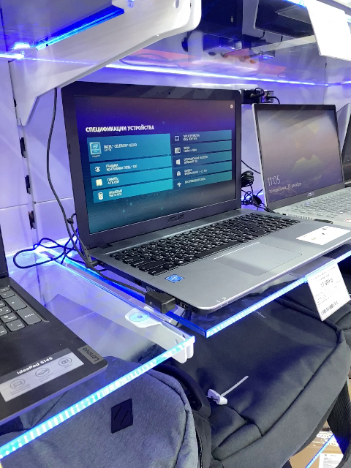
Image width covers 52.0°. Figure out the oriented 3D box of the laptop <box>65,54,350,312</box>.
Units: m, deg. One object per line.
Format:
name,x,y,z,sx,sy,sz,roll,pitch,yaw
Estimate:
laptop,0.080,-0.102,0.536,0.372,0.232,0.263,-16,22,-40
